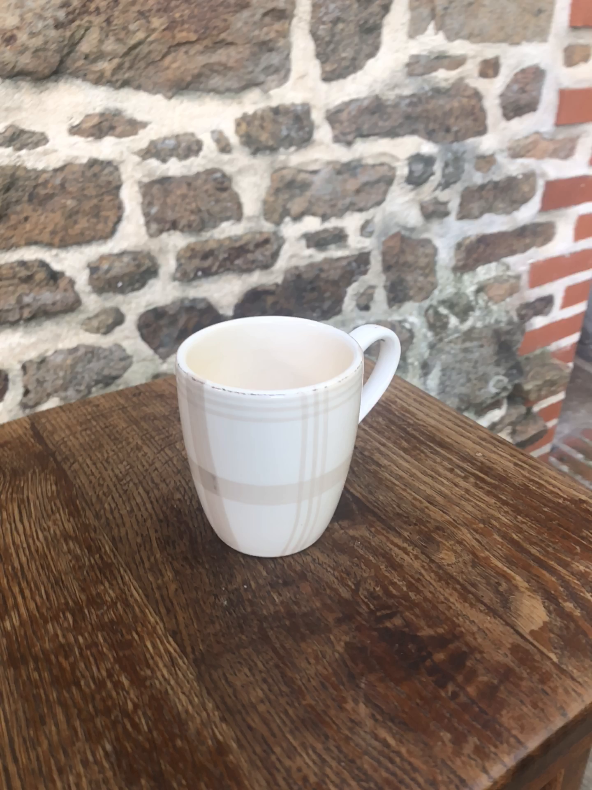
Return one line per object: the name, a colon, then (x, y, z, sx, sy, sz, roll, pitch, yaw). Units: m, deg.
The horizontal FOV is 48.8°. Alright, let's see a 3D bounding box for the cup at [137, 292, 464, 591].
cup: (0.004, 0.012, 0.321, 0.125, 0.078, 0.087, -22, 35, -34)
